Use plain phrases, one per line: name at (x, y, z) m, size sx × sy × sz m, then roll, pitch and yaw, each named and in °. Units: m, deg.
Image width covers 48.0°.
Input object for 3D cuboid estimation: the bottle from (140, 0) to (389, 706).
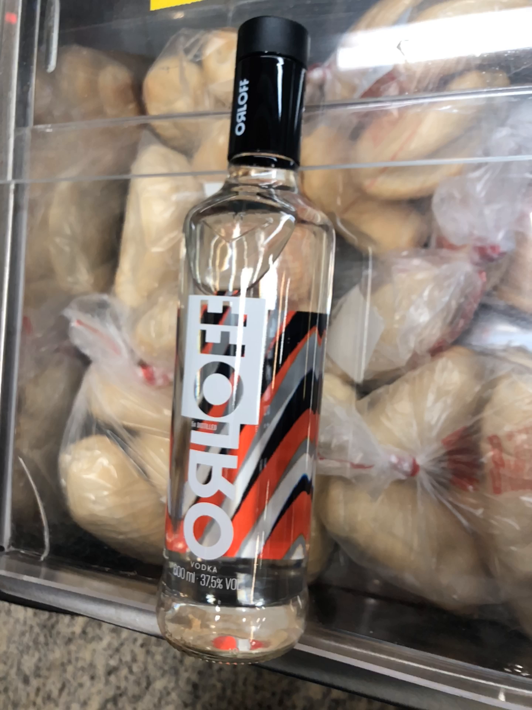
bottle at (0.002, -0.016, 0.275) m, size 0.070 × 0.070 × 0.300 m, roll 5°, pitch 92°, yaw 23°
